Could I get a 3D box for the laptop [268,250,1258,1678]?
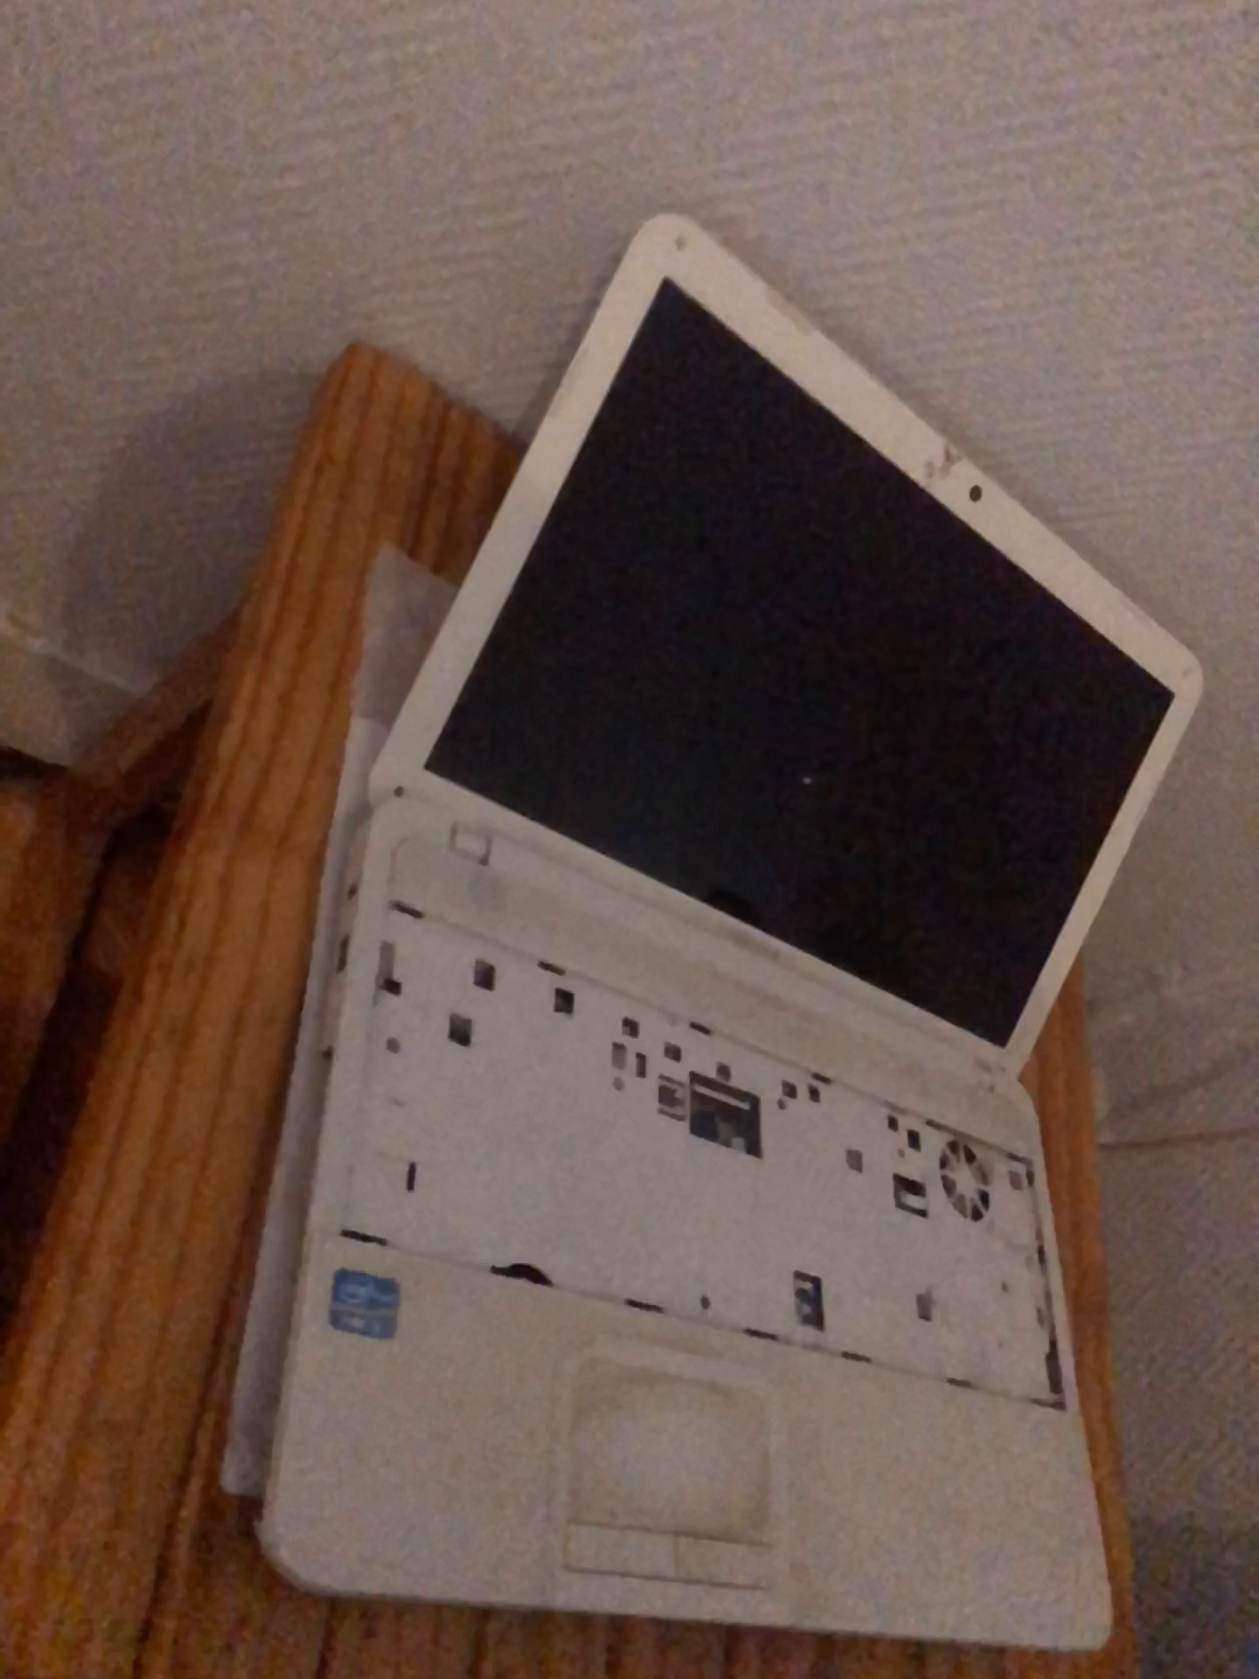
[{"bbox_3d":[0.098,0.056,0.519,0.373,0.117,0.418,28,49,-32],"label":"laptop"}]
